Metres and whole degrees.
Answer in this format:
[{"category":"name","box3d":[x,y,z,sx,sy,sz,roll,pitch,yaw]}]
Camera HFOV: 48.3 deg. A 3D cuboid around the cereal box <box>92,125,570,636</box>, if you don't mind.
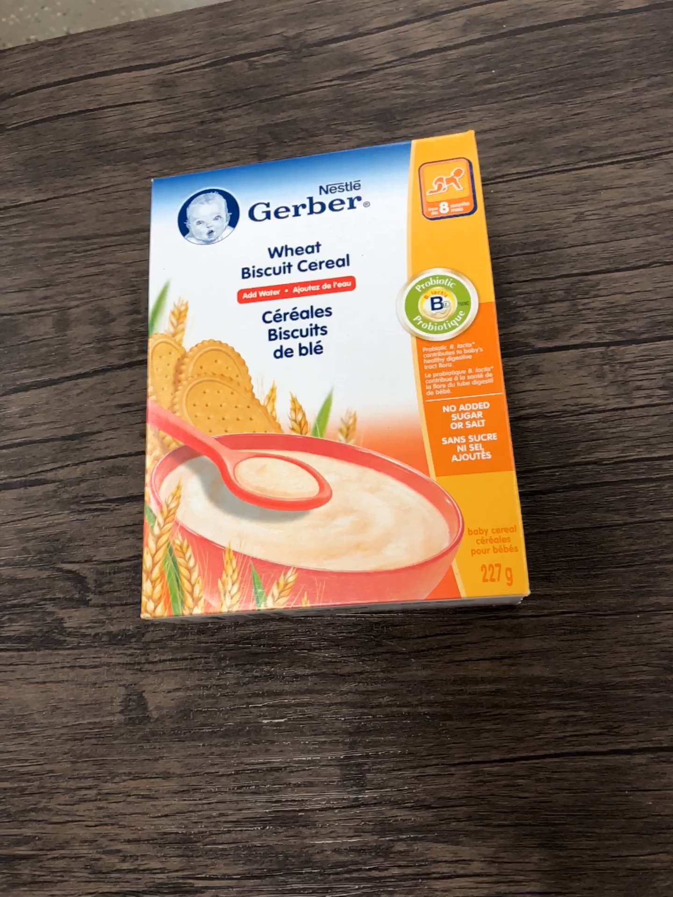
[{"category":"cereal box","box3d":[-0.006,-0.024,0.291,0.160,0.040,0.180,-5,74,8]}]
